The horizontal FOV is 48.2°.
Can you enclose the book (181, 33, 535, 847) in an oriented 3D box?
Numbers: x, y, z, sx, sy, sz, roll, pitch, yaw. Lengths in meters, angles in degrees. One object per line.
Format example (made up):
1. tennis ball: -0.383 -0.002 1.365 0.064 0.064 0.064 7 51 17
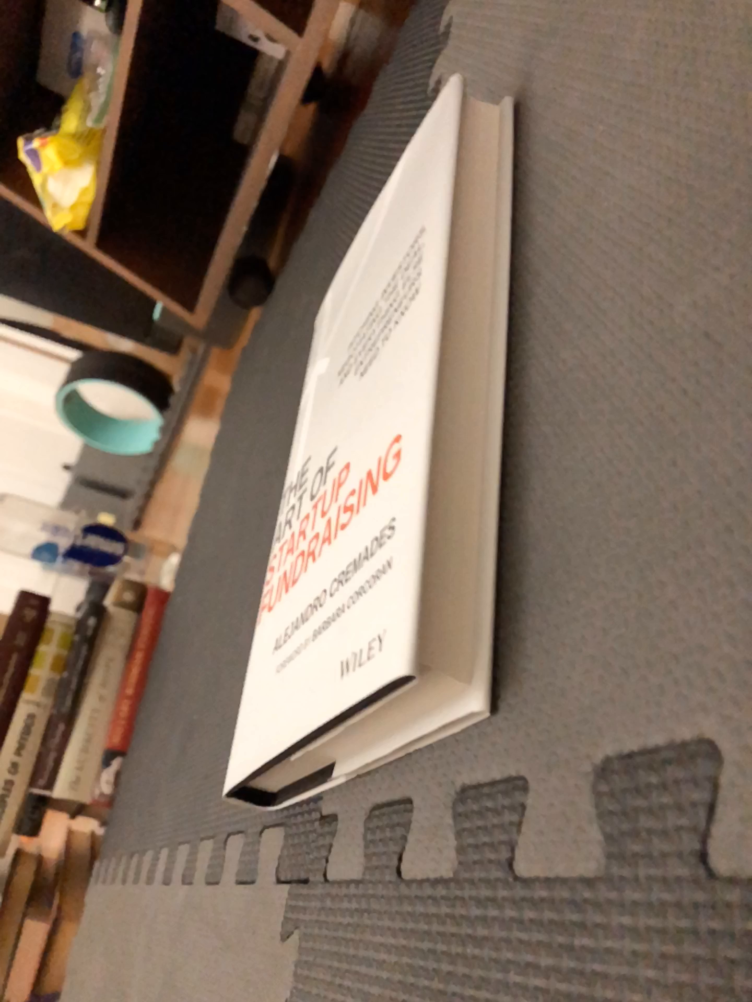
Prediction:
1. book: -0.007 -0.018 0.305 0.170 0.030 0.250 133 152 -54
